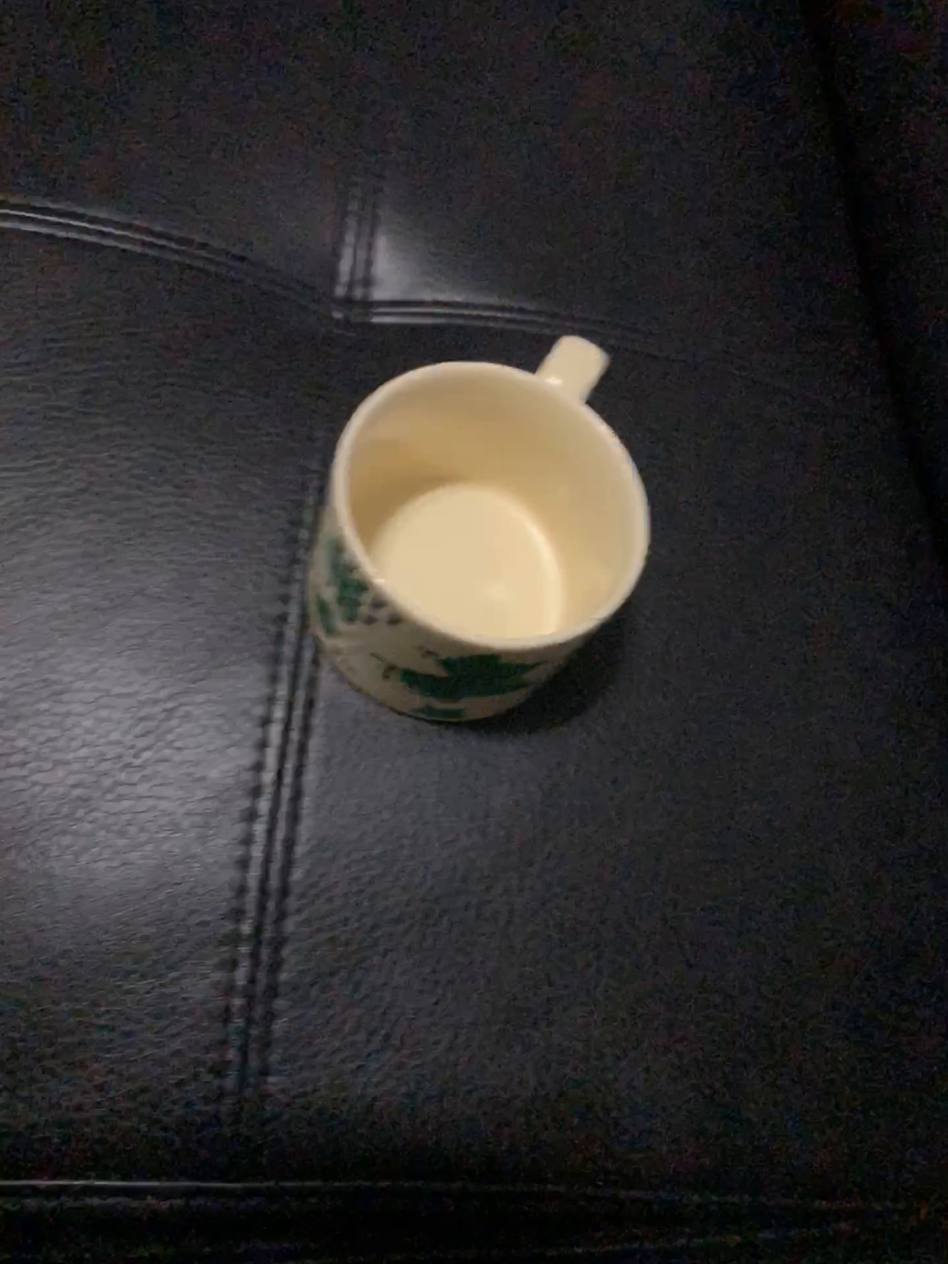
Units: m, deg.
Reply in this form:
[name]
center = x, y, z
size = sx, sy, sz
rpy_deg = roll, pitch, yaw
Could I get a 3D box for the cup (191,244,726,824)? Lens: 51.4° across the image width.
[cup]
center = -0.002, -0.029, 0.269
size = 0.090, 0.060, 0.119
rpy_deg = 32, 58, -1
